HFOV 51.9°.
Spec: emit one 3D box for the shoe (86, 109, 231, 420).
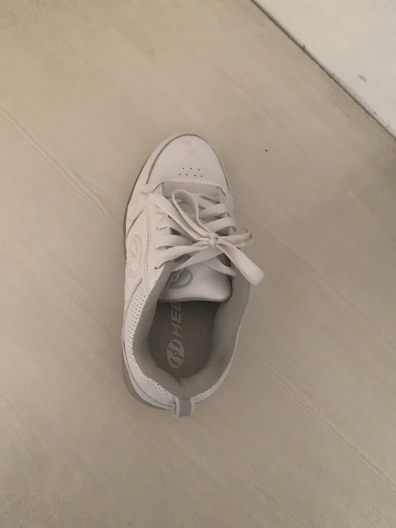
[{"bbox_3d":[-0.030,0.003,0.339,0.090,0.090,0.230,6,72,-10],"label":"shoe"}]
